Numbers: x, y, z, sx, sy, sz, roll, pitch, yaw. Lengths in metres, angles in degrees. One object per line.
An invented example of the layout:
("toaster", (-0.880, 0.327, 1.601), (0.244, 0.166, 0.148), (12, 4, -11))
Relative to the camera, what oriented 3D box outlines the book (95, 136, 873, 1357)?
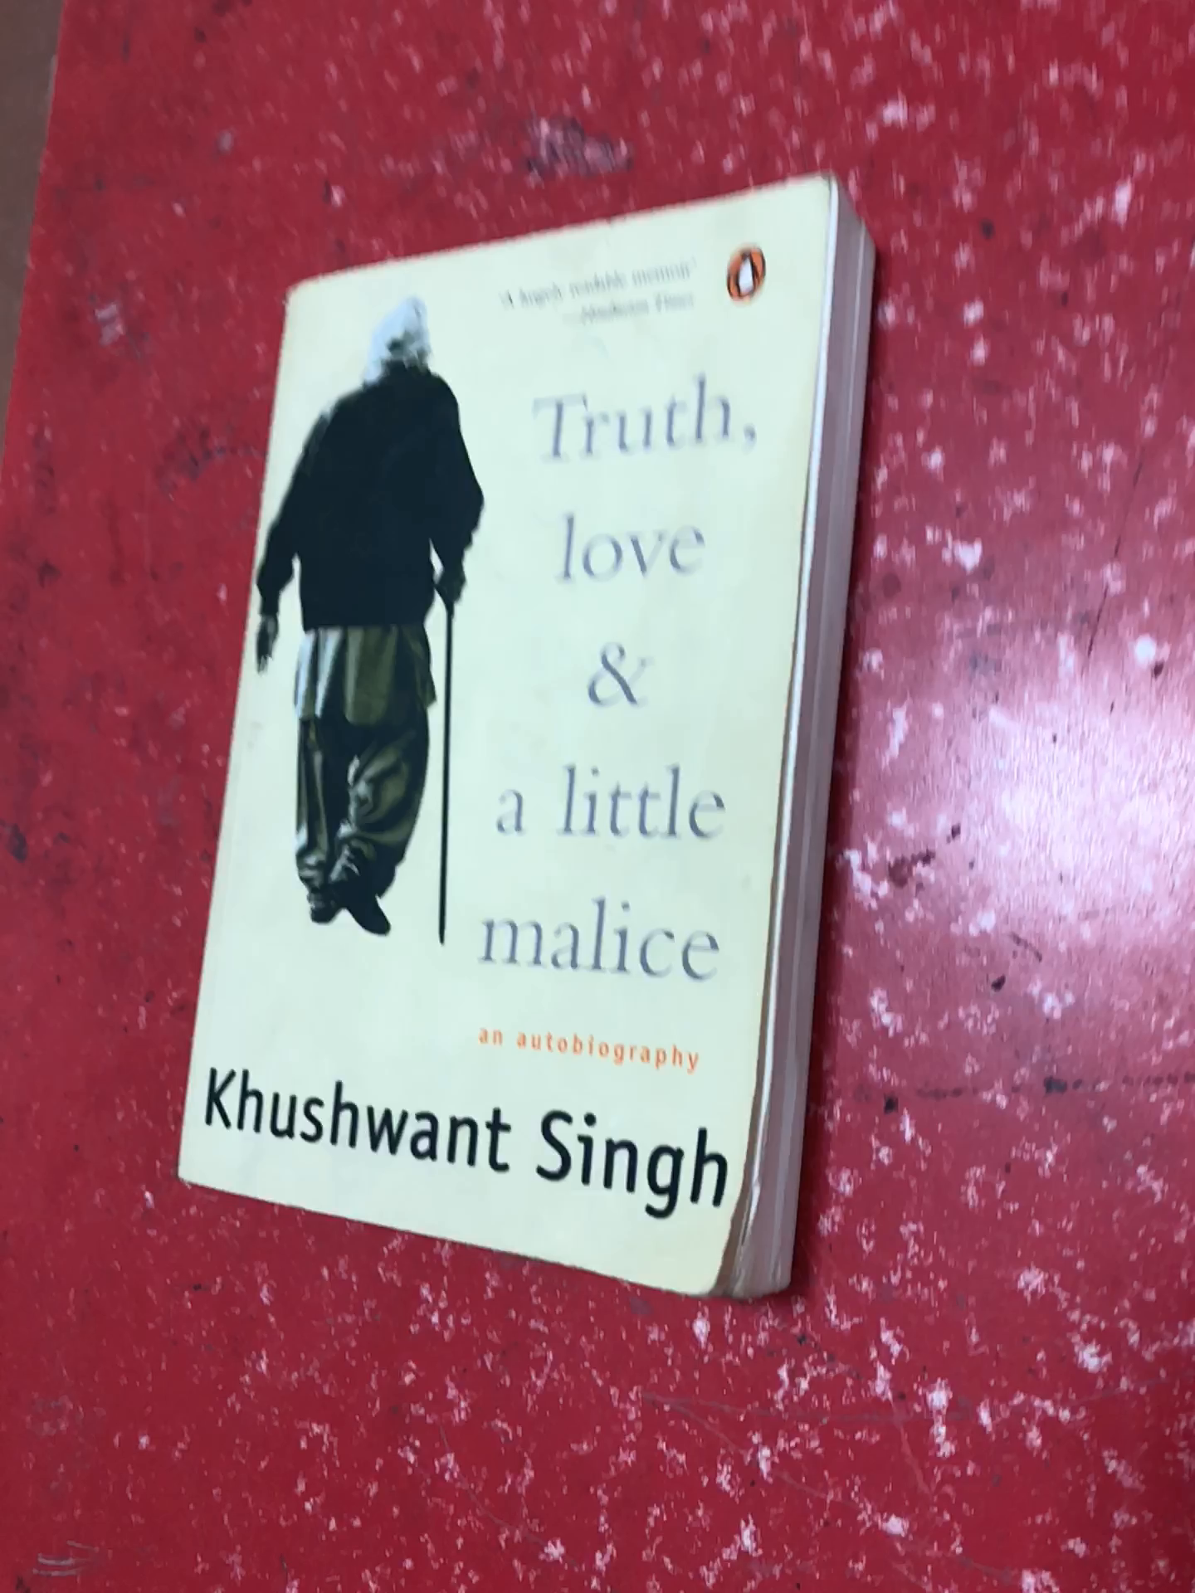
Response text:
("book", (-0.025, -0.013, 0.277), (0.140, 0.040, 0.210), (1, 81, 29))
